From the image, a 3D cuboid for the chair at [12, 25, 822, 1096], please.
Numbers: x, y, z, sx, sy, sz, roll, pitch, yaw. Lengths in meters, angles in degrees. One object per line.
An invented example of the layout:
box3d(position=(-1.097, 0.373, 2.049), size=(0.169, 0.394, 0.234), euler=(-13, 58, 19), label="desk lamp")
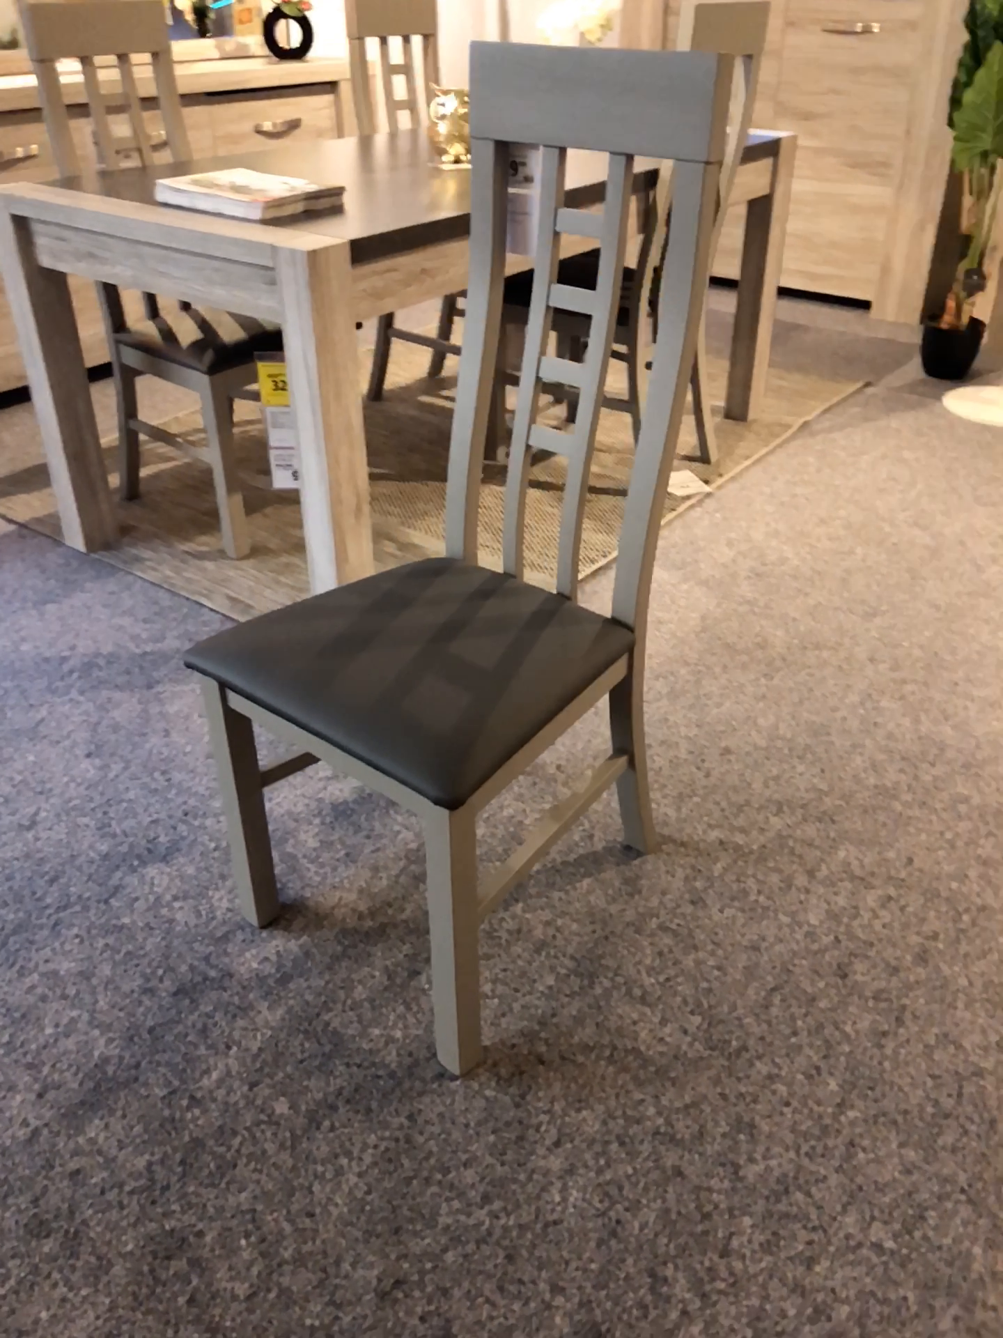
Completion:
box3d(position=(-0.063, -0.154, 1.281), size=(0.510, 1.014, 0.553), euler=(24, 39, 34), label="chair")
